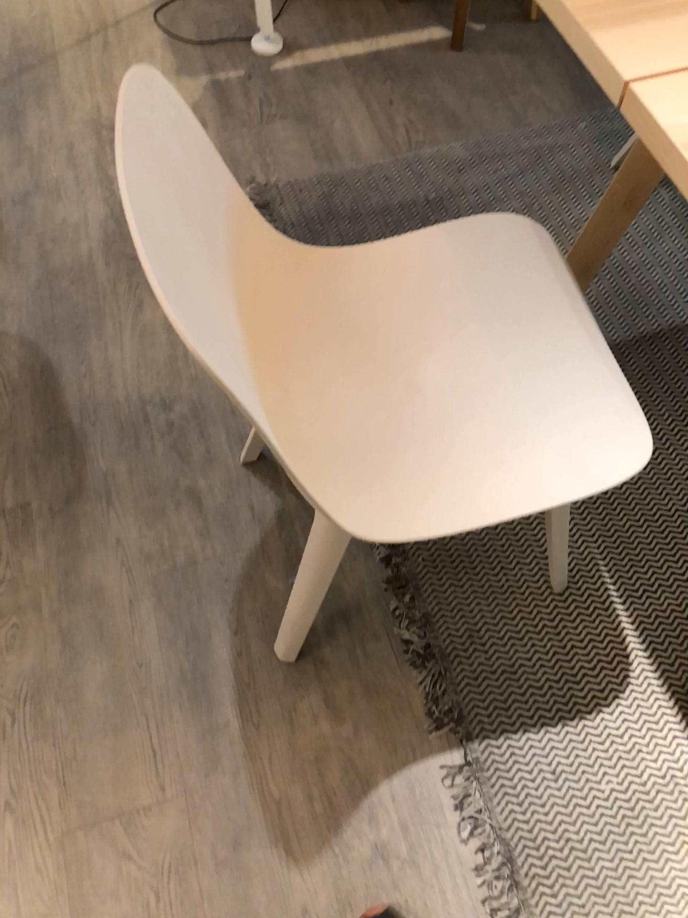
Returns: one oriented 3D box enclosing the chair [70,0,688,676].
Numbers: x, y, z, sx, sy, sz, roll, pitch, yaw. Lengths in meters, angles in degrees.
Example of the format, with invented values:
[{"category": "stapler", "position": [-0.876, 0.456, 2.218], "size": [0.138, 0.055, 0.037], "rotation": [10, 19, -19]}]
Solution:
[{"category": "chair", "position": [0.064, -0.116, 0.928], "size": [0.510, 0.767, 0.462], "rotation": [-13, 61, -6]}]
